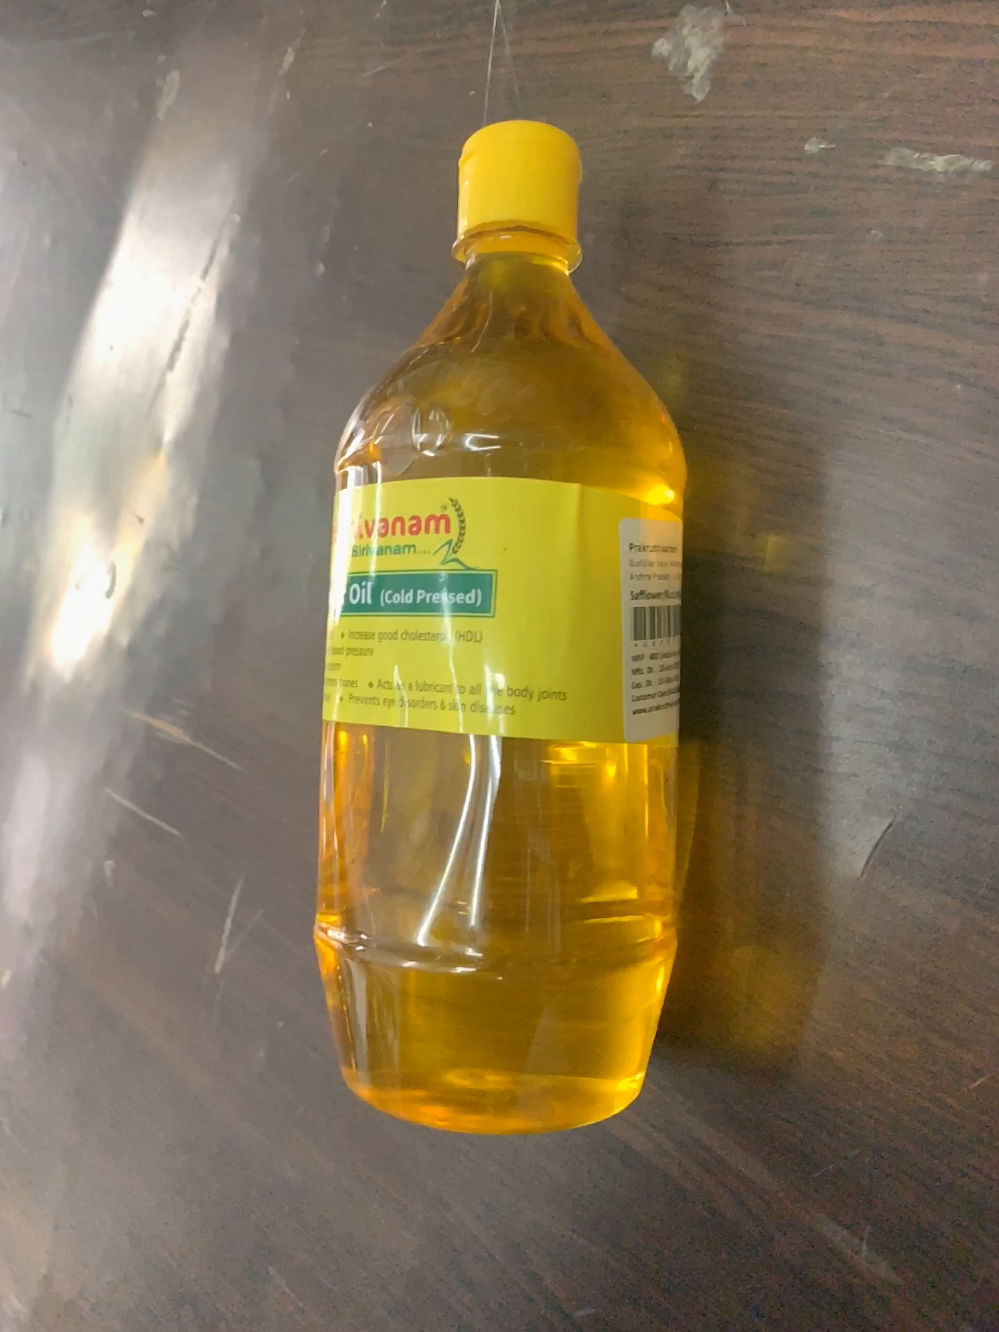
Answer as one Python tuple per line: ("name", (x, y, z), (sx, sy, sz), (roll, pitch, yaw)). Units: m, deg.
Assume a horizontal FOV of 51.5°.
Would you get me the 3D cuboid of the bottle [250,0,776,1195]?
("bottle", (0.000, -0.021, 0.243), (0.091, 0.080, 0.230), (0, 89, 55))
